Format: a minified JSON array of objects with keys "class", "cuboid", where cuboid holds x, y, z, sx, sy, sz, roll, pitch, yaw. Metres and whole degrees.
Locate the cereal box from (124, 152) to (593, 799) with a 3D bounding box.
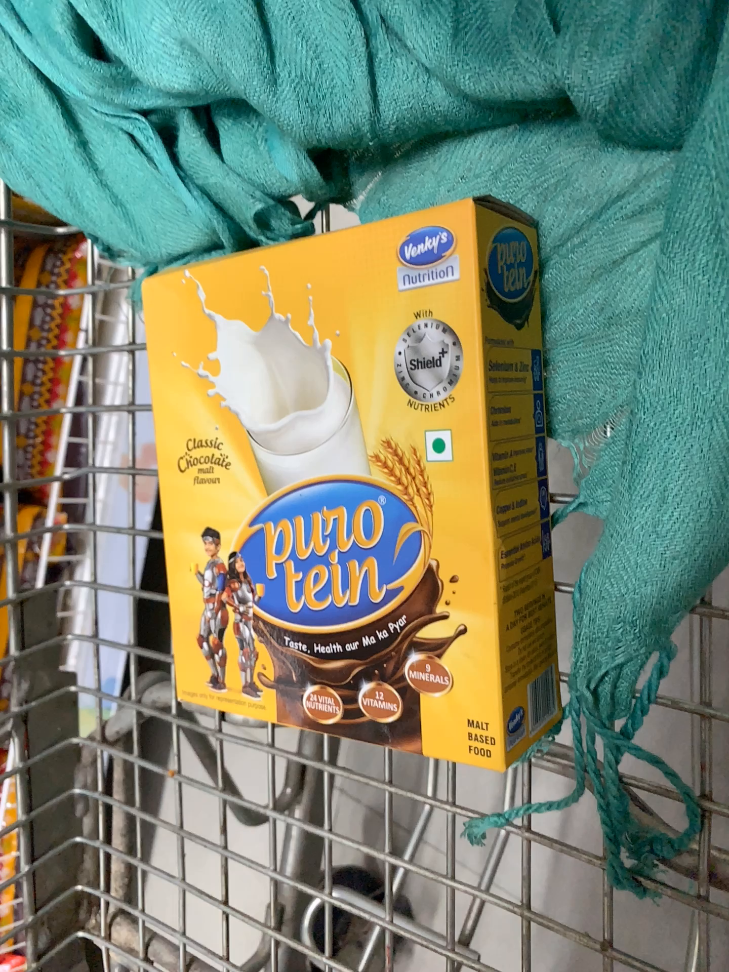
[{"class":"cereal box","cuboid":[-0.008,-0.006,0.244,0.141,0.050,0.160,6,101,33]}]
